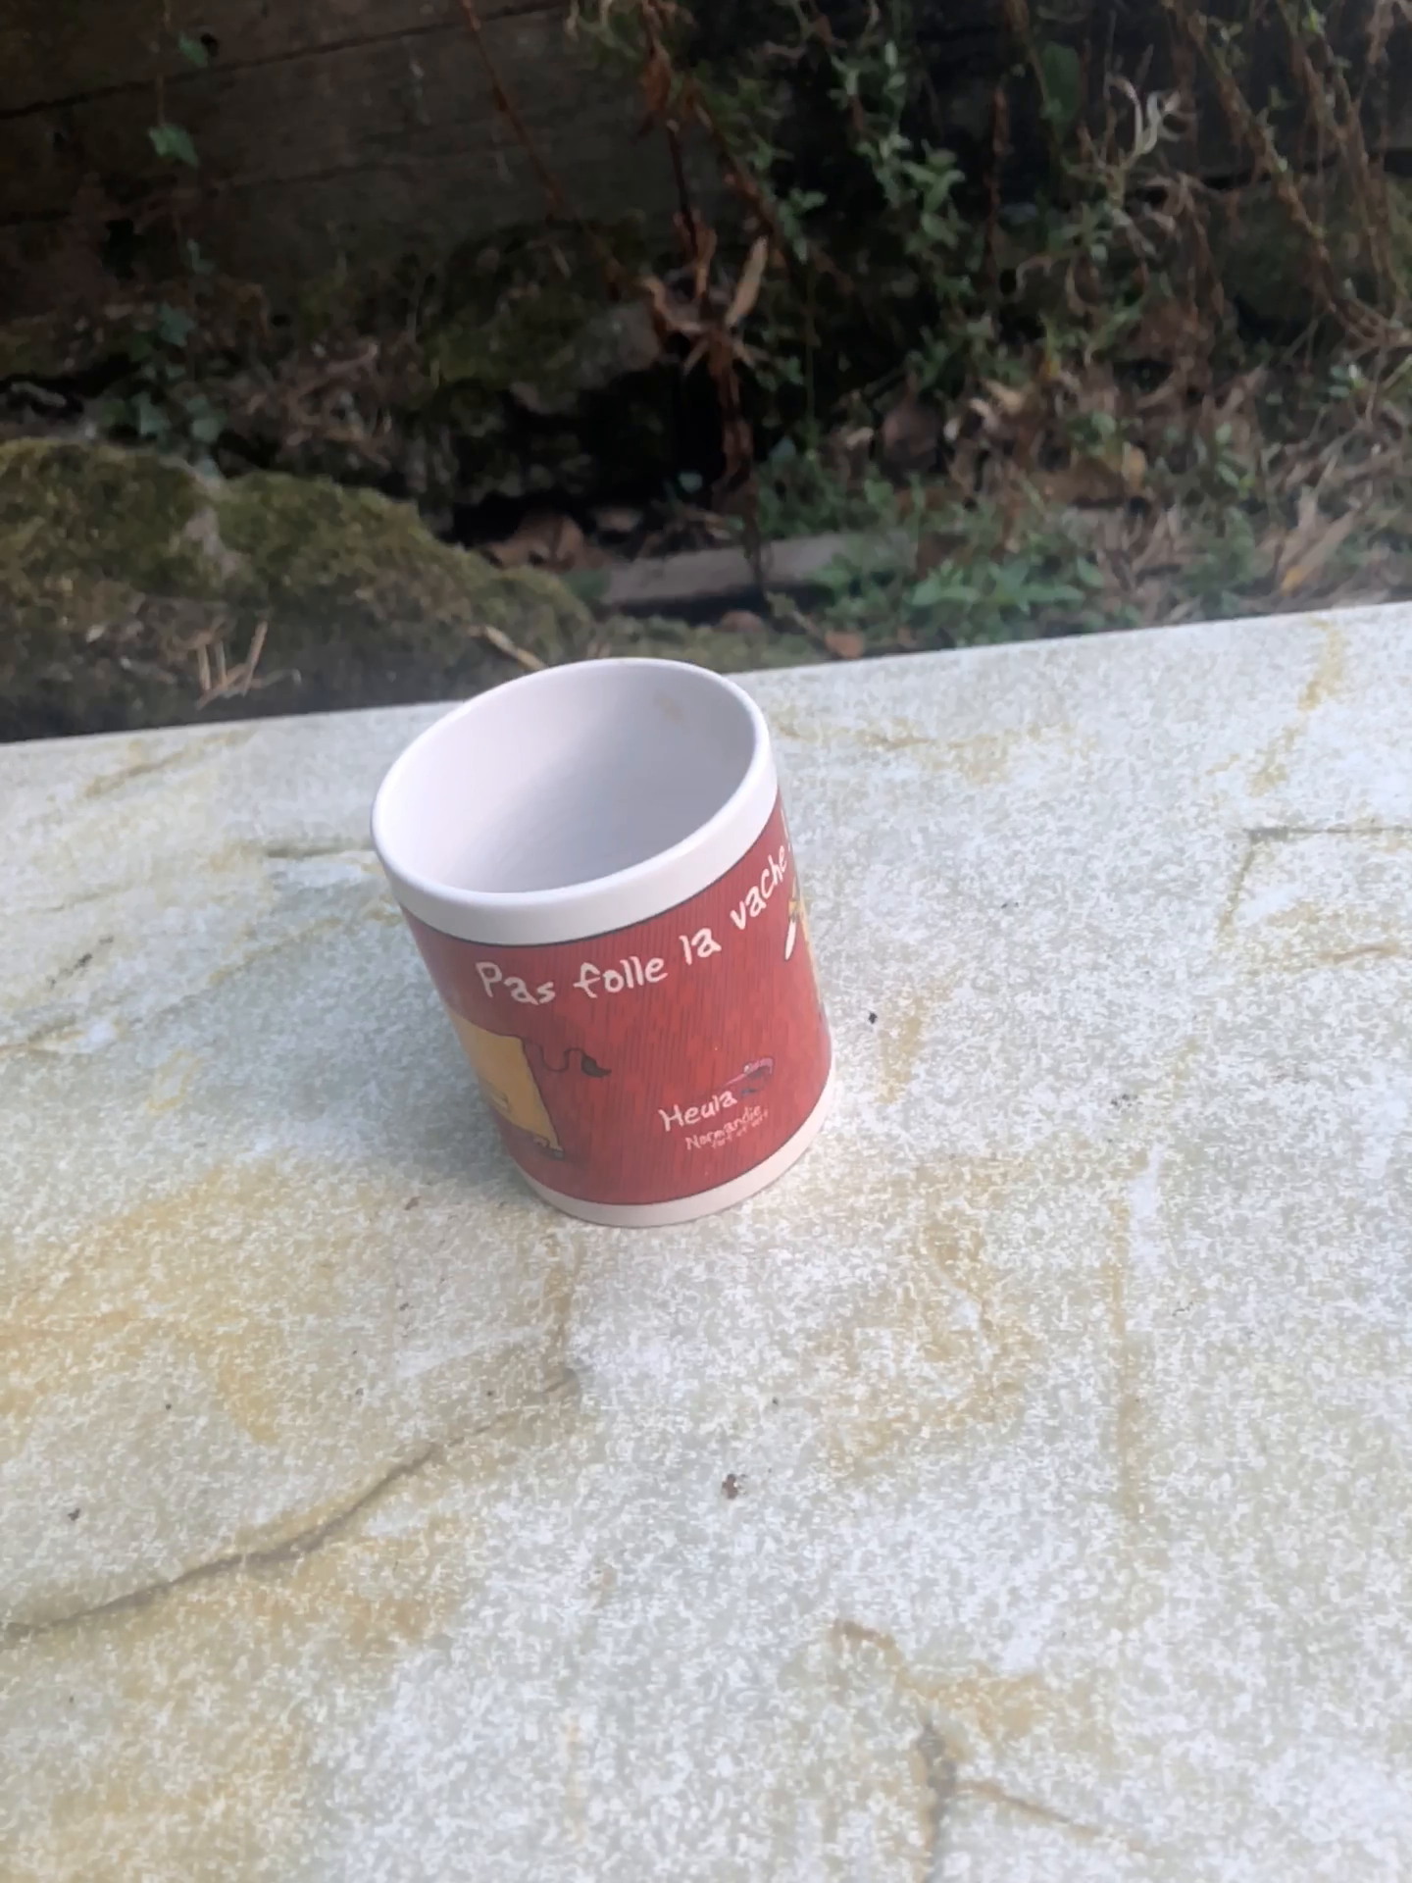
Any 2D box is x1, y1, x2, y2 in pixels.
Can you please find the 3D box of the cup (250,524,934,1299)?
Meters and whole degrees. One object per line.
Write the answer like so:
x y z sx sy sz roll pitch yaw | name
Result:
-0.026 -0.014 0.334 0.086 0.083 0.130 -25 43 -14 | cup
